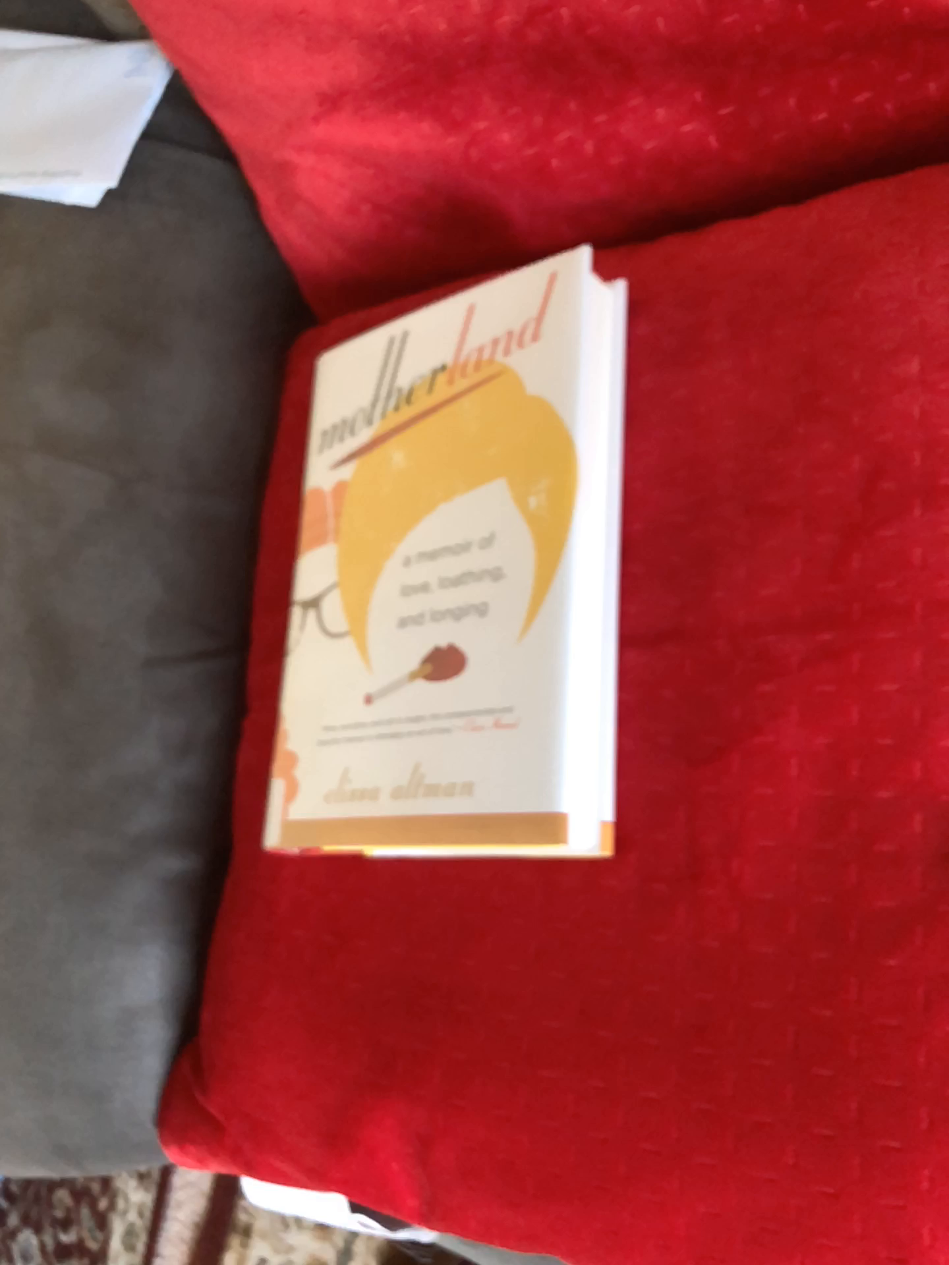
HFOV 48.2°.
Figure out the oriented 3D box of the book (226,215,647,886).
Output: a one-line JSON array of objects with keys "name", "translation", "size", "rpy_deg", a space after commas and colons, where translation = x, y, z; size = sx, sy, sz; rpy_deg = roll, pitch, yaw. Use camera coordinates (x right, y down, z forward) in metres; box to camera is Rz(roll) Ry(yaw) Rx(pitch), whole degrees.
[{"name": "book", "translation": [-0.013, -0.021, 0.373], "size": [0.141, 0.040, 0.210], "rpy_deg": [-9, 70, 36]}]
